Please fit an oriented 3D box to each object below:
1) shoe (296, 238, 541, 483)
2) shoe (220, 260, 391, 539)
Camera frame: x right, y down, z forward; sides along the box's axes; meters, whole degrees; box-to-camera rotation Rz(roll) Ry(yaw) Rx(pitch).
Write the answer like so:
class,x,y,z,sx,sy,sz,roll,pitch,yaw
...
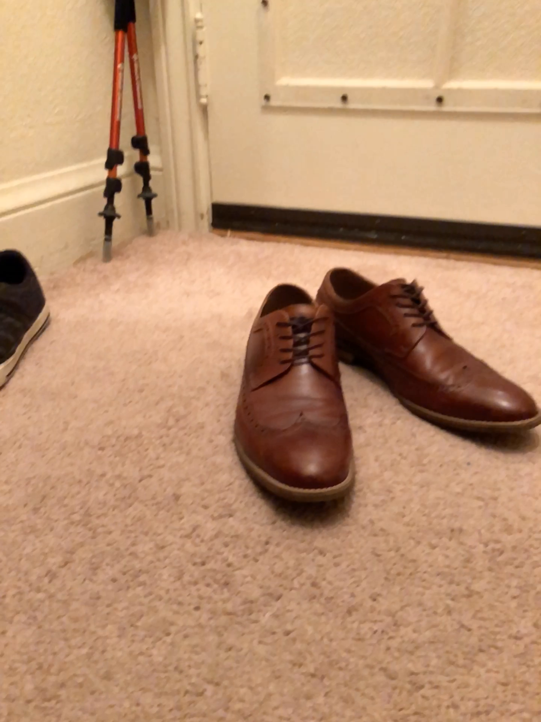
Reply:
class,x,y,z,sx,sy,sz,roll,pitch,yaw
shoe,0.160,-0.025,0.619,0.115,0.114,0.311,-16,31,-27
shoe,0.018,0.010,0.566,0.115,0.114,0.312,-1,28,-2
